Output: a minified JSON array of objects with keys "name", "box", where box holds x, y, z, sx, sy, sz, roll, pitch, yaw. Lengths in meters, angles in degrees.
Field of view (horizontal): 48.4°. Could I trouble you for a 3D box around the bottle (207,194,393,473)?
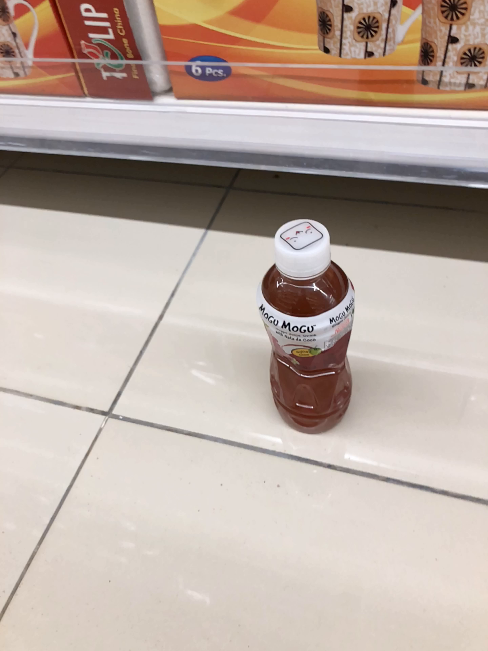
[{"name":"bottle","box":[0.039,0.012,0.345,0.070,0.159,0.070,-5,48,5]}]
